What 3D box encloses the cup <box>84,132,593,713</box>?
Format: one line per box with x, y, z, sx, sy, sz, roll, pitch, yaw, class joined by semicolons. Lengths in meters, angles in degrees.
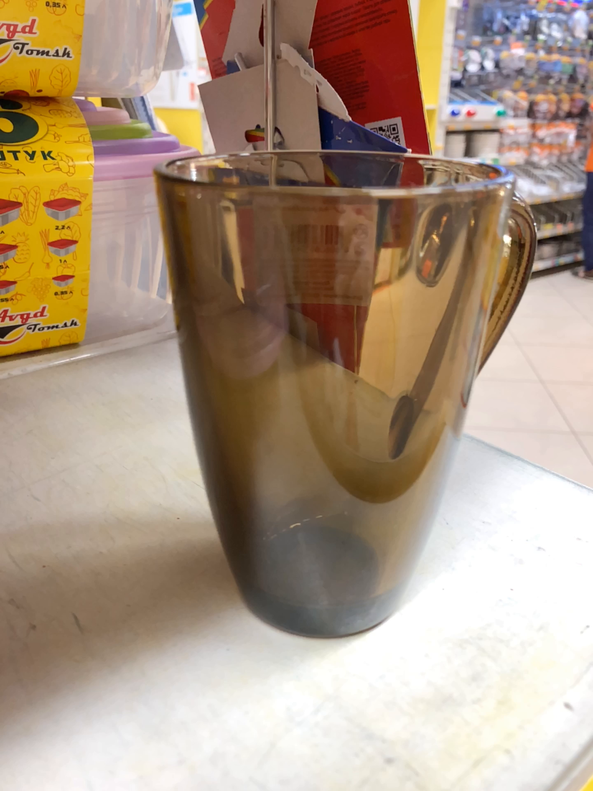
0.021;-0.010;0.168;0.072;0.096;0.112;21;33;35;cup
